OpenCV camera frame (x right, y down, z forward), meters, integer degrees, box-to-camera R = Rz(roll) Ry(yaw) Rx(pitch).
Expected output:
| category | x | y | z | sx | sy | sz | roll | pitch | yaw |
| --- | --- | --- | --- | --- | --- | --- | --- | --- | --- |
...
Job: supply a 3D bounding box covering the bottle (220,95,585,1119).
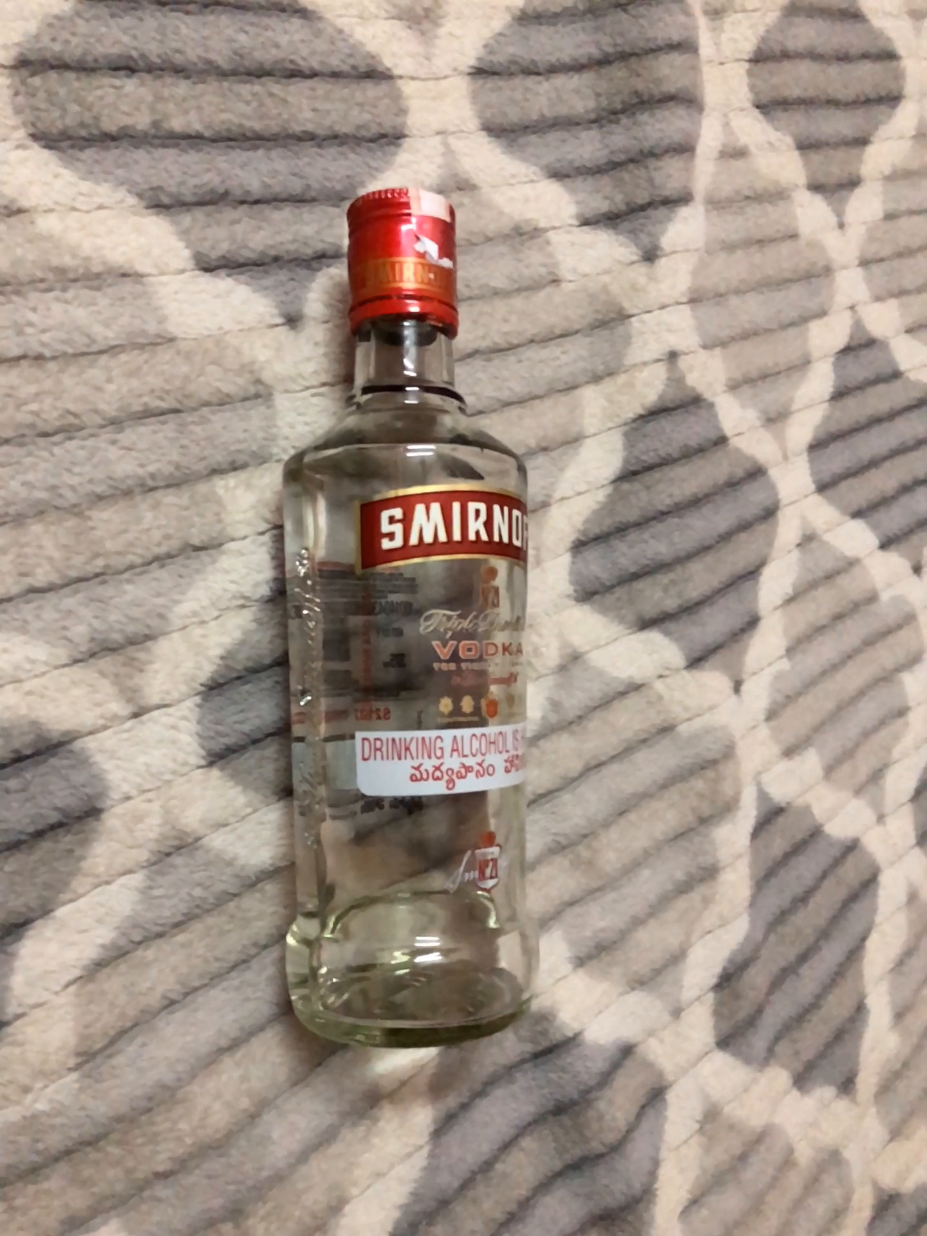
| category | x | y | z | sx | sy | sz | roll | pitch | yaw |
| --- | --- | --- | --- | --- | --- | --- | --- | --- | --- |
| bottle | -0.017 | -0.004 | 0.276 | 0.070 | 0.060 | 0.230 | 2 | 84 | -43 |
